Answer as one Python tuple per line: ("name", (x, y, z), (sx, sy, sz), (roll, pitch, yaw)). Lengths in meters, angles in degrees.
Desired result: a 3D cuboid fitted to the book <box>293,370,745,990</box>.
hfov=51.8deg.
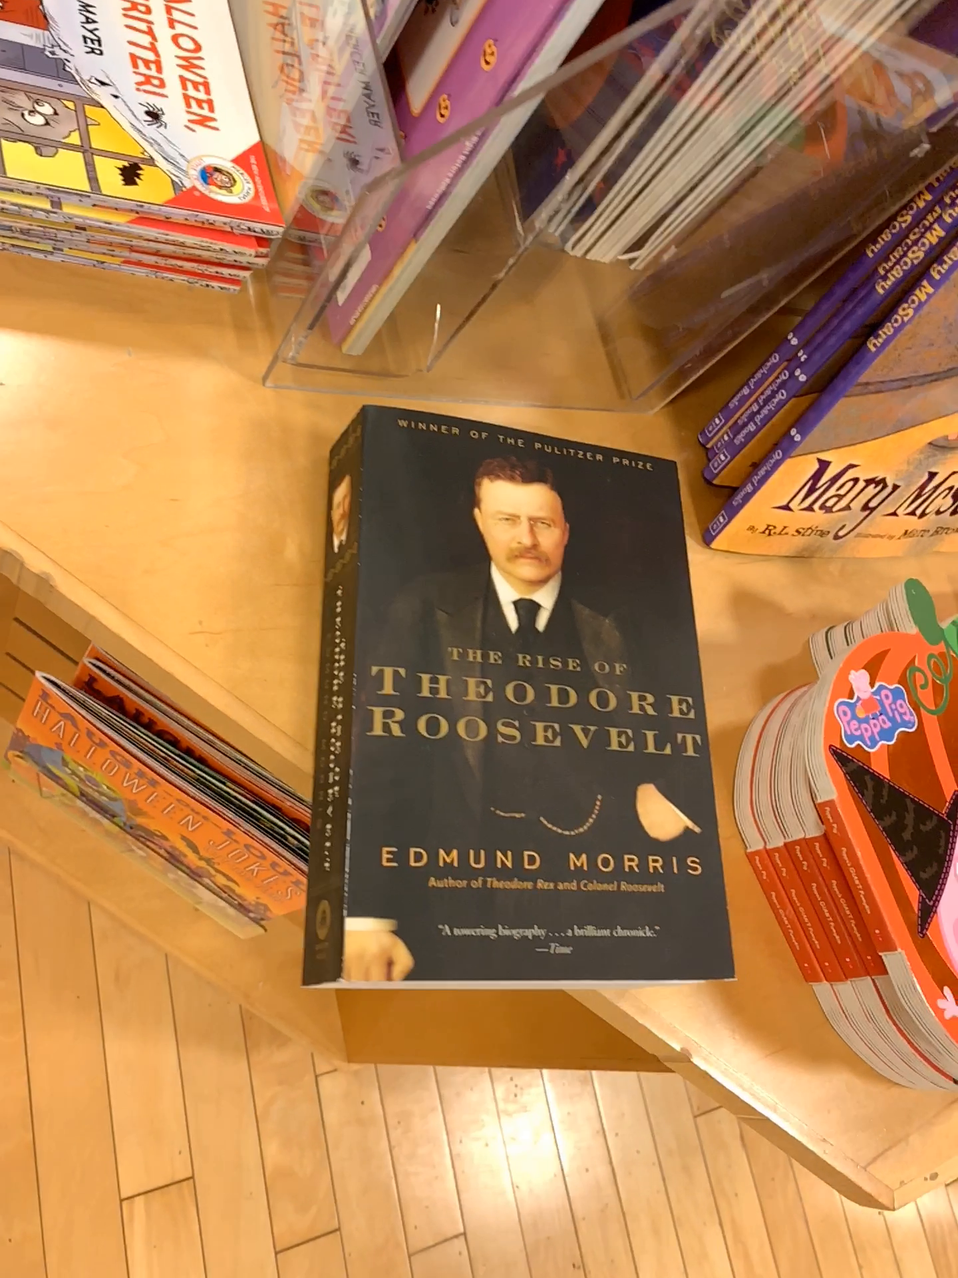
("book", (0.013, 0.021, 0.355), (0.130, 0.066, 0.195), (11, 65, -26))
